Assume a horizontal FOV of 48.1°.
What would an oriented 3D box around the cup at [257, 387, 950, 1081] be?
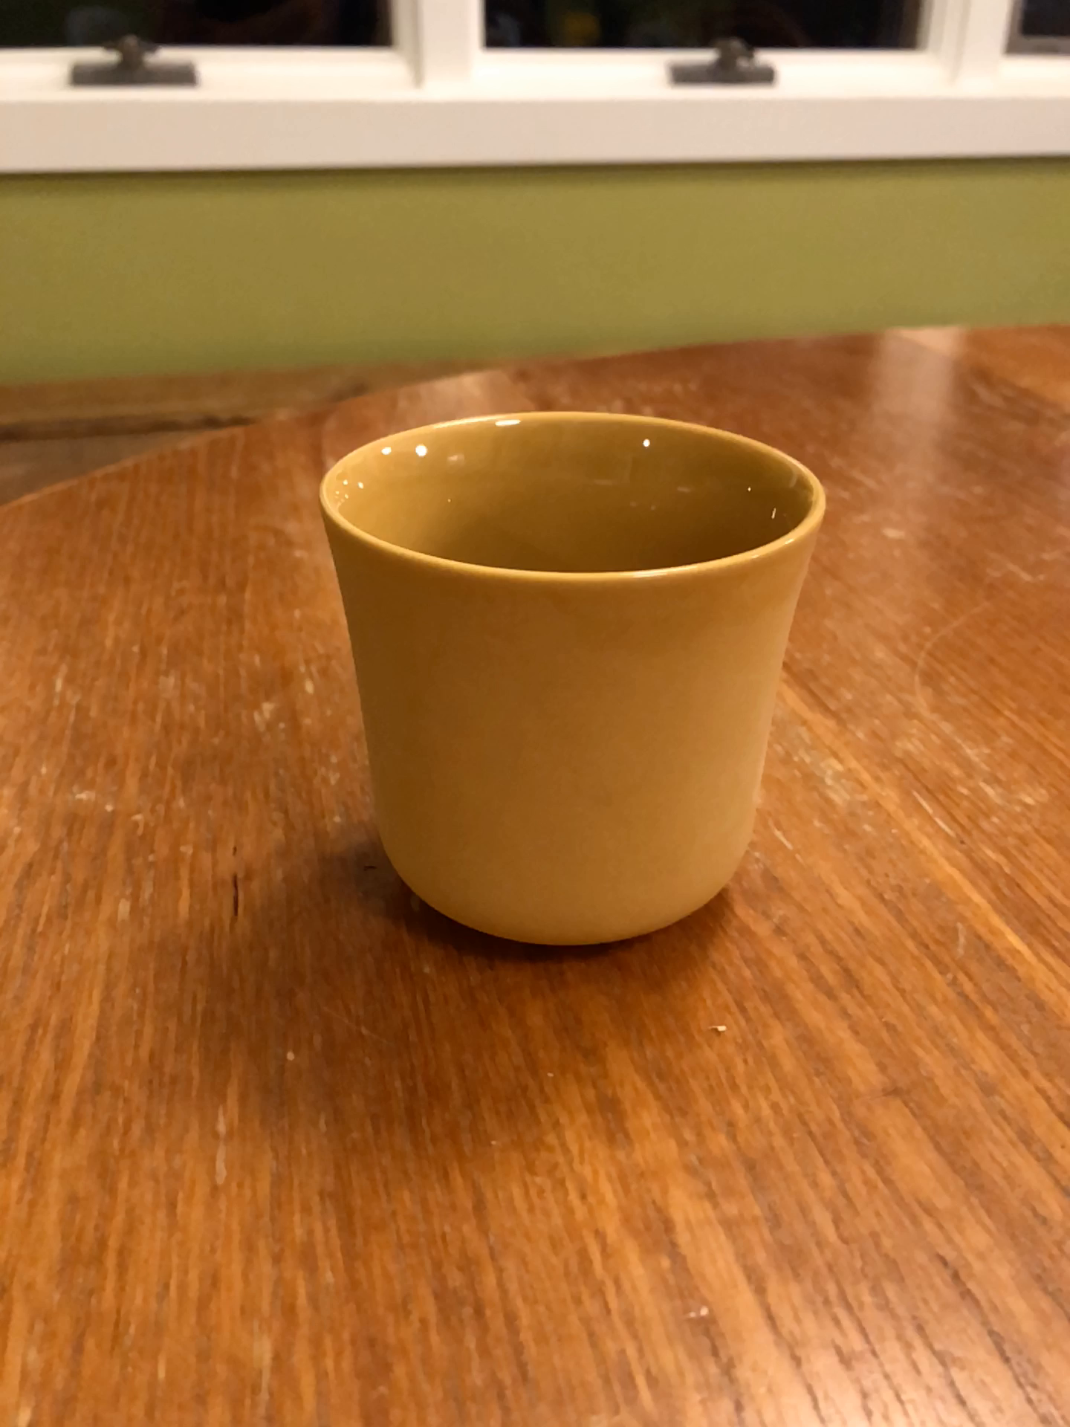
[{"bbox_3d":[0.008,-0.005,0.200,0.078,0.073,0.074,0,29,0],"label":"cup"}]
